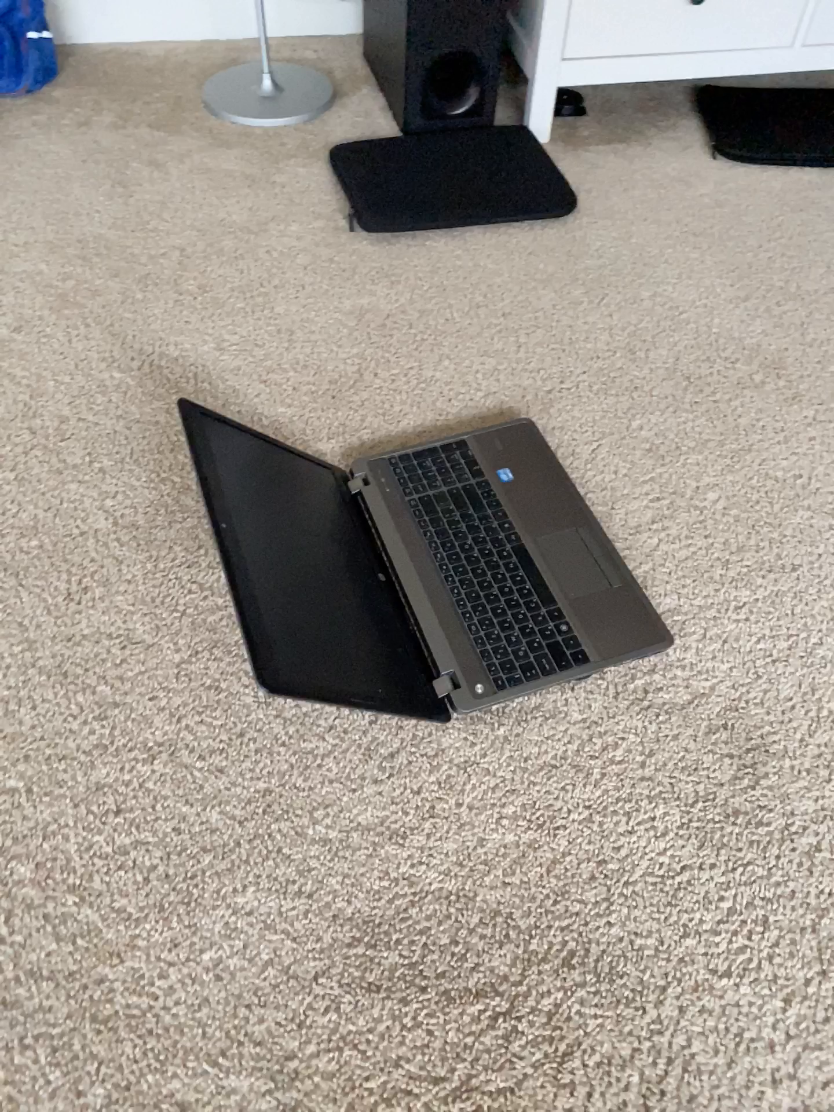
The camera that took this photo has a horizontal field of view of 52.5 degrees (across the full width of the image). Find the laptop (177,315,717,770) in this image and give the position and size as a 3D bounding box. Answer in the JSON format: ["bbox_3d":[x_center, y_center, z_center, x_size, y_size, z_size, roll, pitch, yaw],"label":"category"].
[{"bbox_3d":[0.010,-0.040,0.909,0.435,0.162,0.376,-15,54,-13],"label":"laptop"}]
